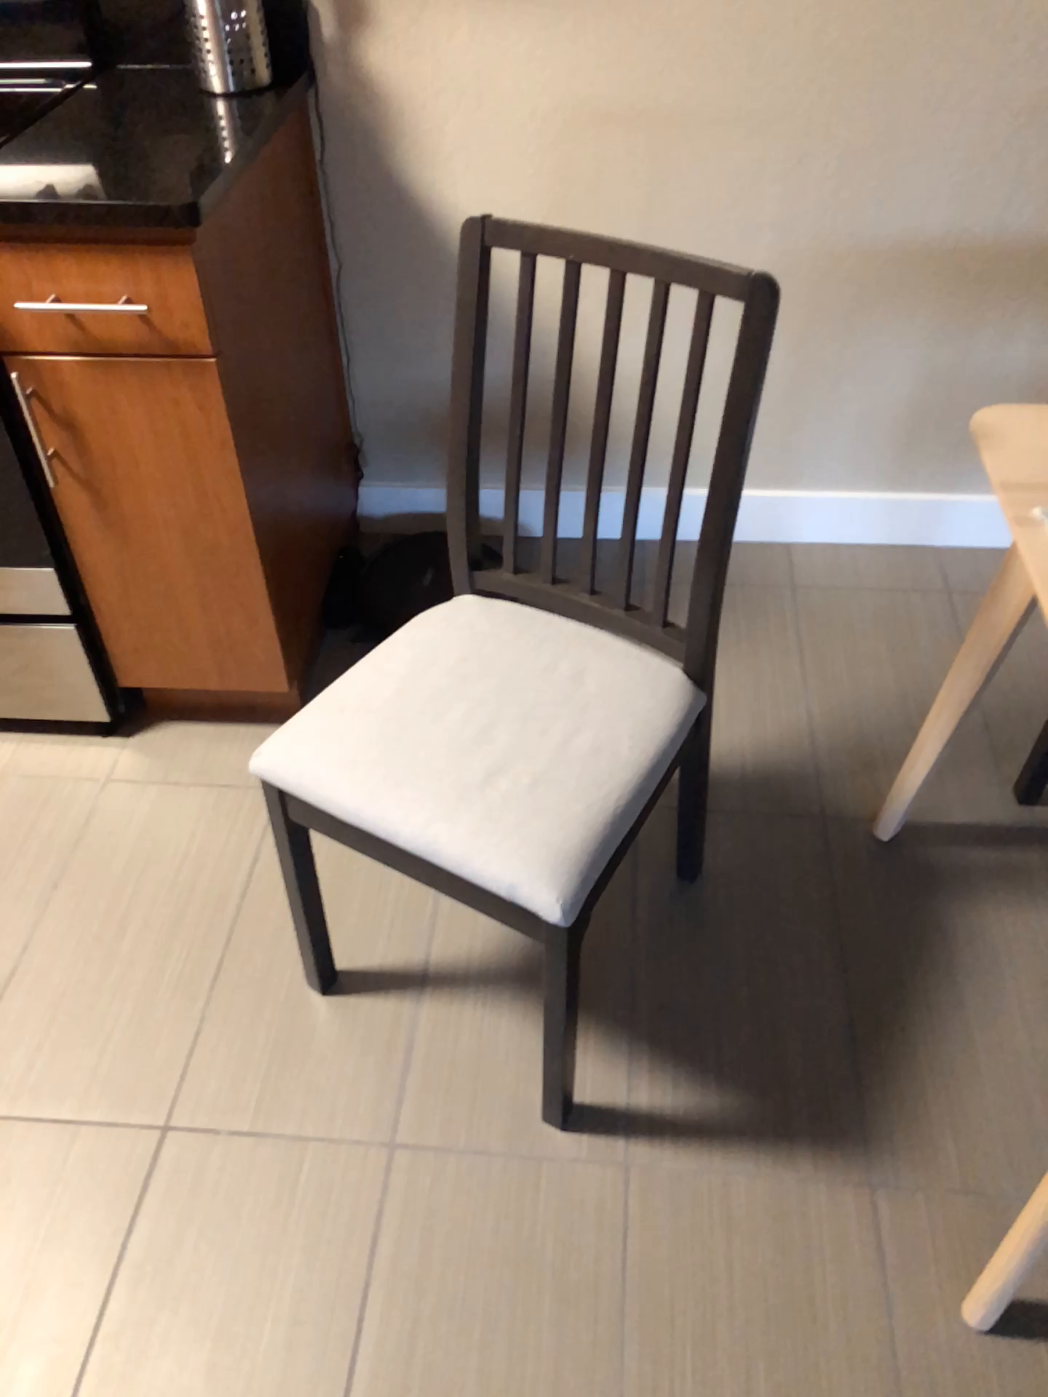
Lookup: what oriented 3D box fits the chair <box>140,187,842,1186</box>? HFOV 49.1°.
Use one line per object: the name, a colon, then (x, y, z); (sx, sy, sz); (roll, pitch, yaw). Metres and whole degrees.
chair: (-0.007, 0.032, 1.499); (0.481, 1.125, 0.511); (25, 48, 27)
